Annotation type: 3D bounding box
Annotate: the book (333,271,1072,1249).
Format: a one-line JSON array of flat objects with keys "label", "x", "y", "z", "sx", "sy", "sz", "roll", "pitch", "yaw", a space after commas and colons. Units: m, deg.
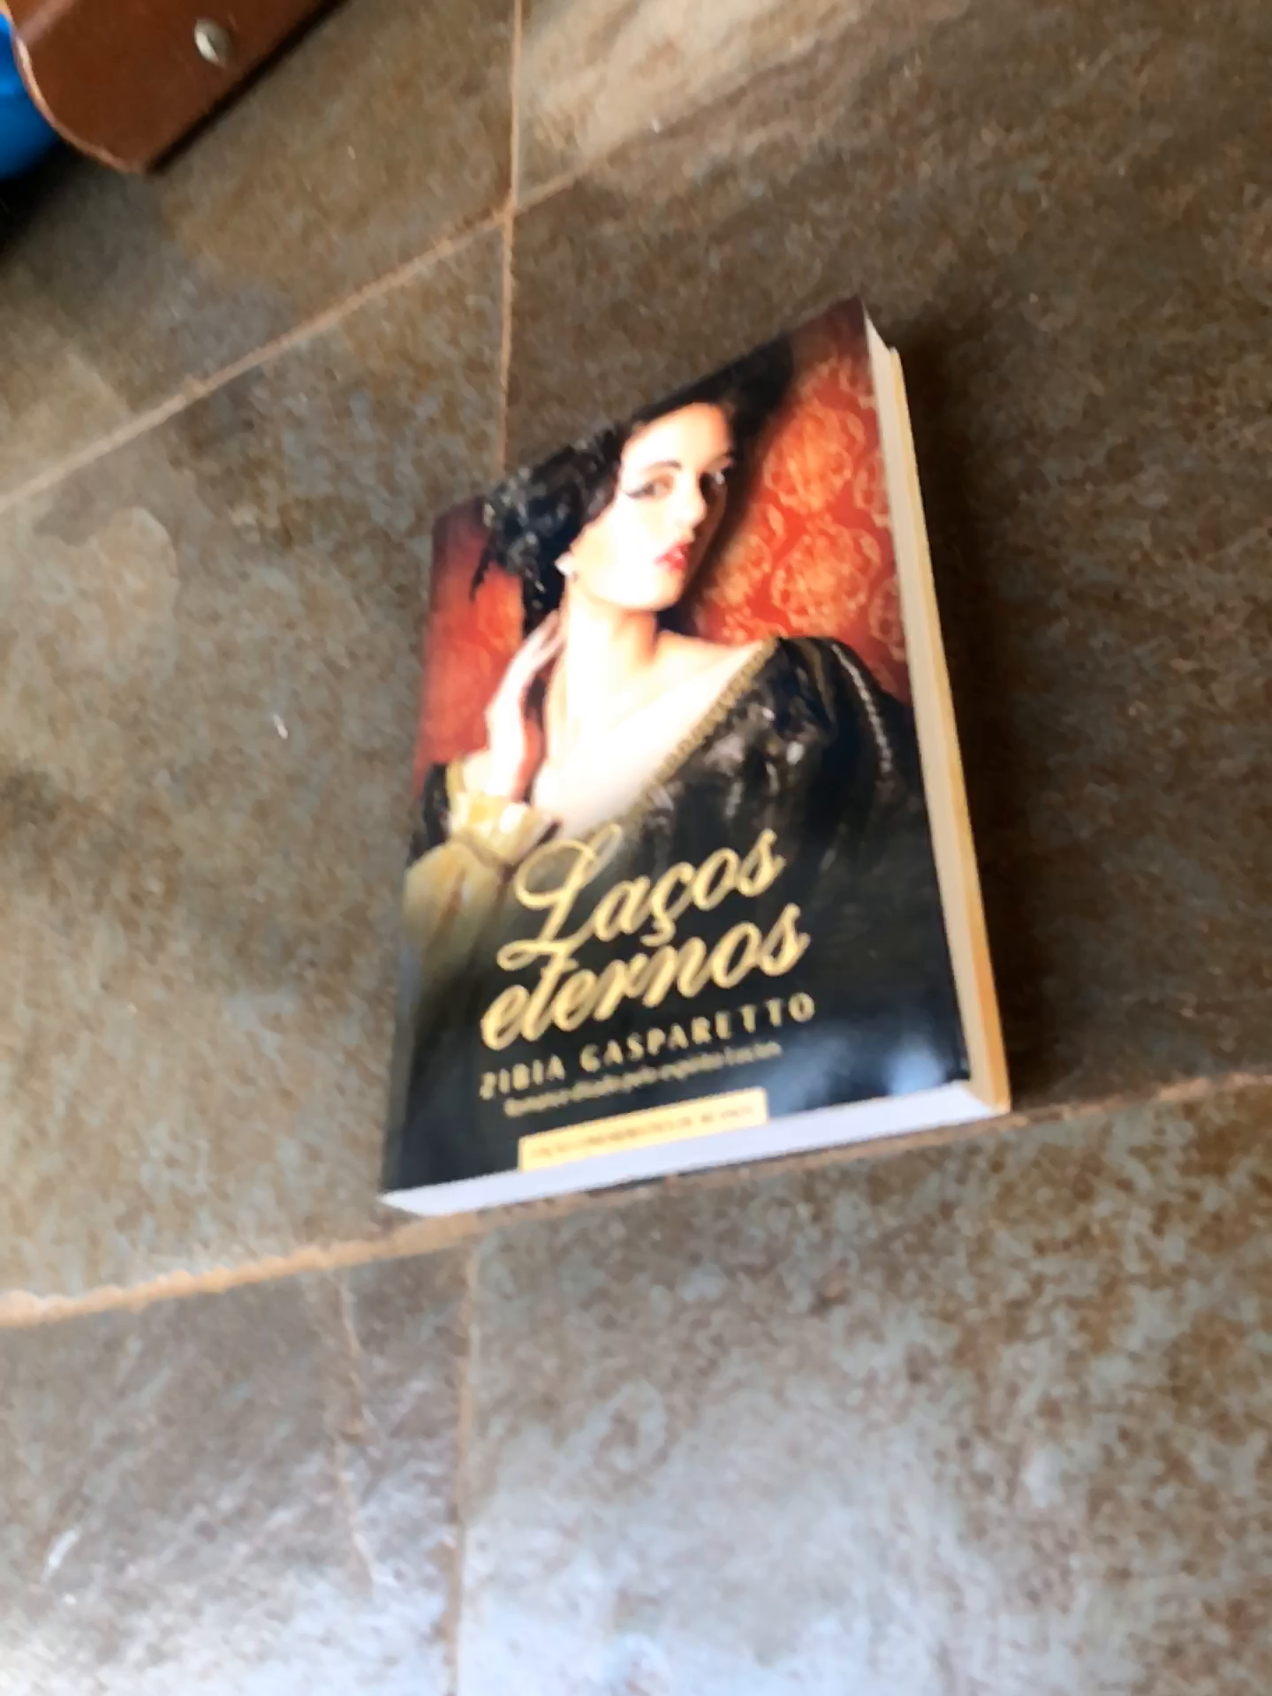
[{"label": "book", "x": 0.005, "y": -0.023, "z": 0.327, "sx": 0.153, "sy": 0.027, "sz": 0.205, "roll": -18, "pitch": 56, "yaw": 27}]
